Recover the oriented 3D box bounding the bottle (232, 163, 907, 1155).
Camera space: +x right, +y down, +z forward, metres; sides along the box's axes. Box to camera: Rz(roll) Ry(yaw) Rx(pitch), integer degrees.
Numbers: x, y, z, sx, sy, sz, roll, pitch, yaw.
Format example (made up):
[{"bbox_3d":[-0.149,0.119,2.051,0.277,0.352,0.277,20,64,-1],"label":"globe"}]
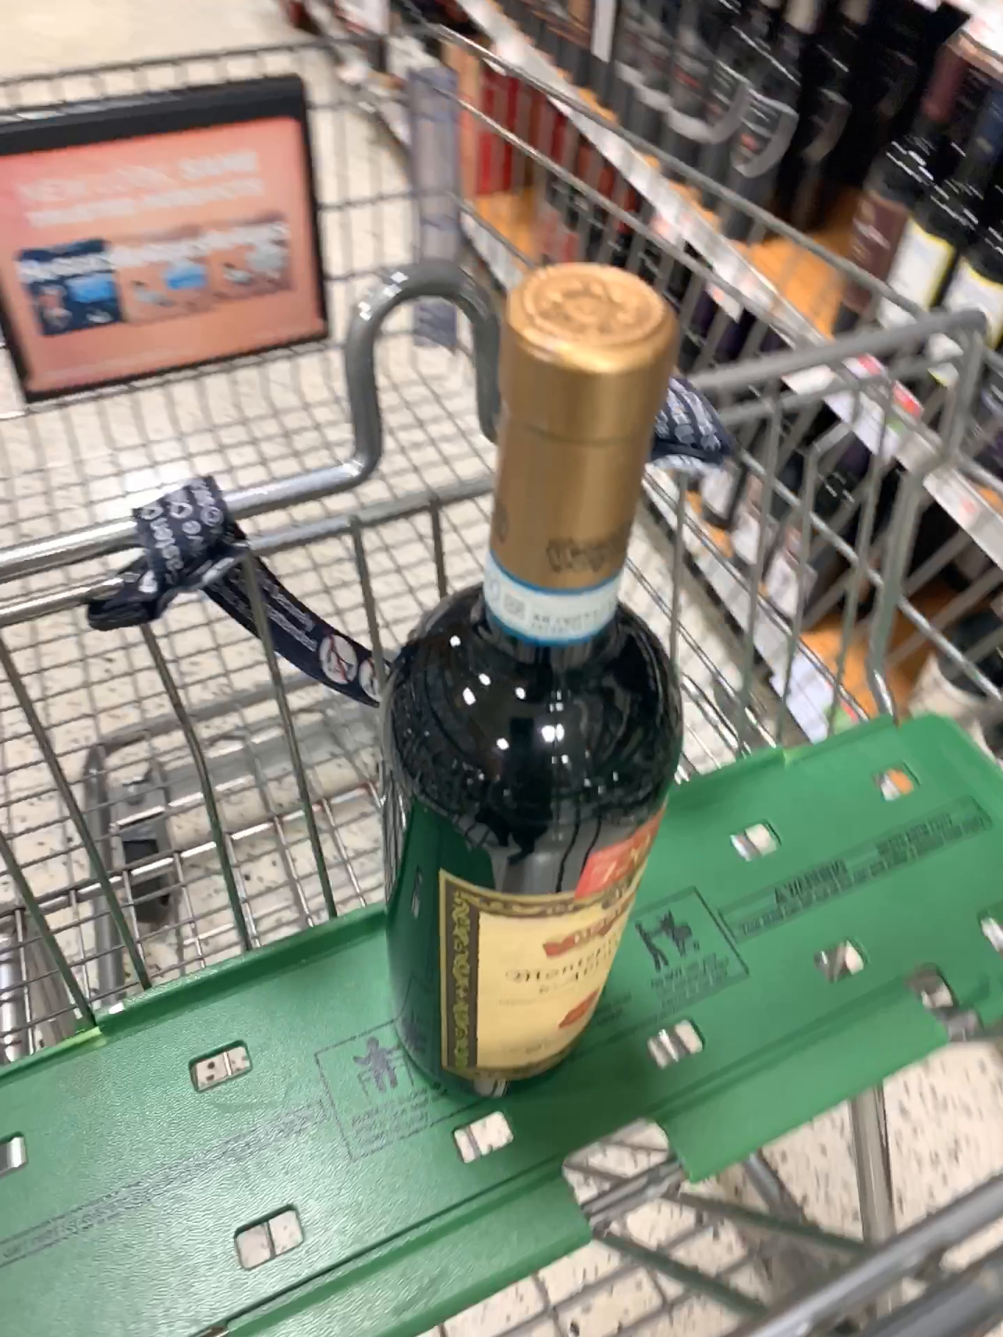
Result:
[{"bbox_3d":[0.004,0.030,0.278,0.080,0.277,0.080,2,50,-2],"label":"bottle"}]
